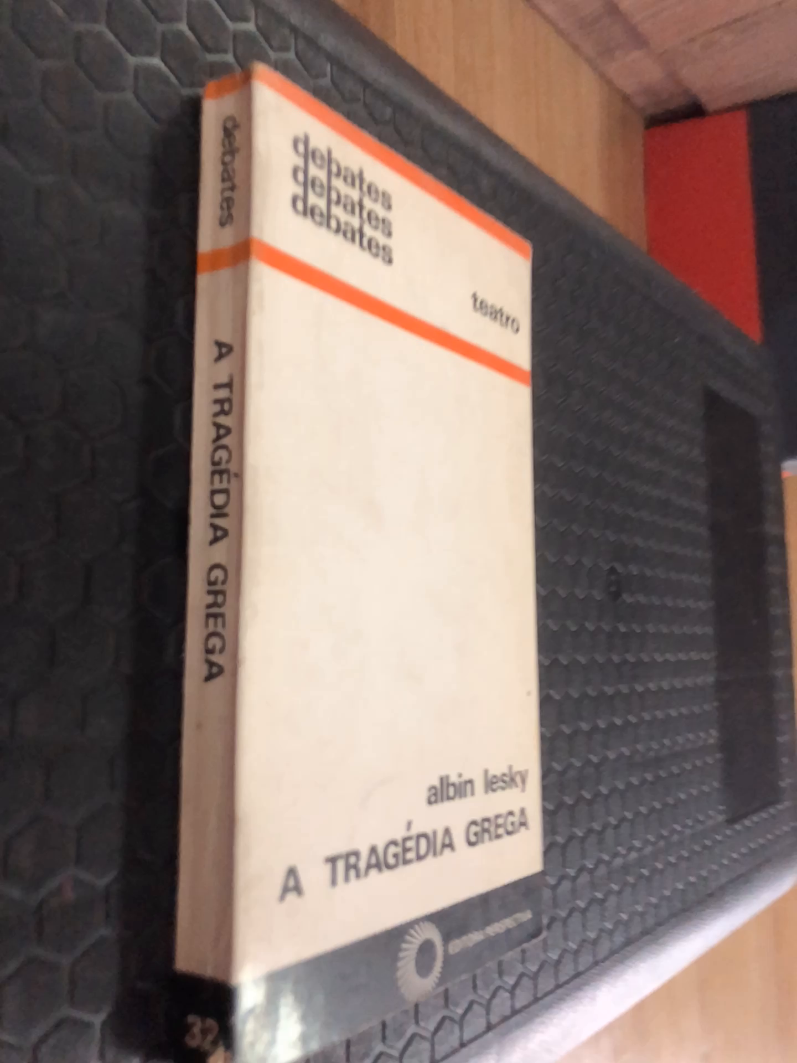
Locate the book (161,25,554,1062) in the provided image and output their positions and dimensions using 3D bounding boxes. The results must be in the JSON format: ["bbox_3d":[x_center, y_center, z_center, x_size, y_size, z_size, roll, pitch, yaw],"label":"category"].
[{"bbox_3d":[-0.001,0.005,0.217,0.115,0.020,0.207,10,78,-50],"label":"book"}]
